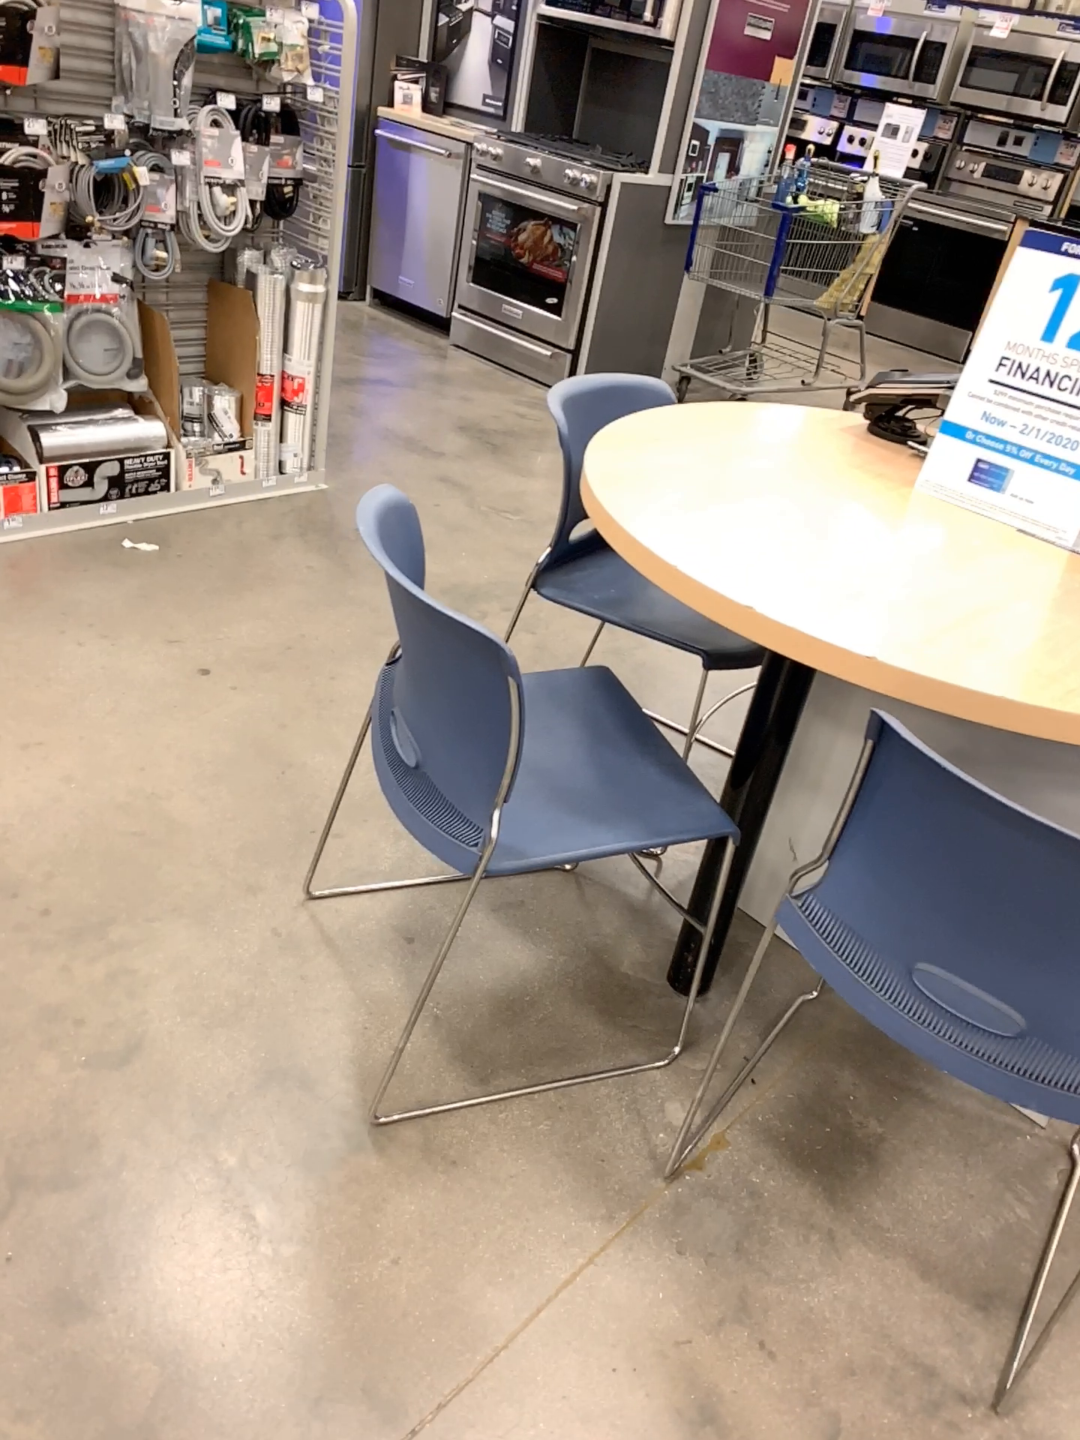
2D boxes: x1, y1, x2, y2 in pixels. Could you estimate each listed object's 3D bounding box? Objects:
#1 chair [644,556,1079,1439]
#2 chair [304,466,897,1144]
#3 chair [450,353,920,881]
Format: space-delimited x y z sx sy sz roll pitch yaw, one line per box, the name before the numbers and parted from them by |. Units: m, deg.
chair | 0.548 0.297 1.324 0.484 0.749 0.533 29 35 25
chair | 0.012 0.101 1.551 0.552 0.749 0.485 -3 35 -23
chair | 0.249 -0.223 2.091 0.572 0.729 0.485 28 35 24
